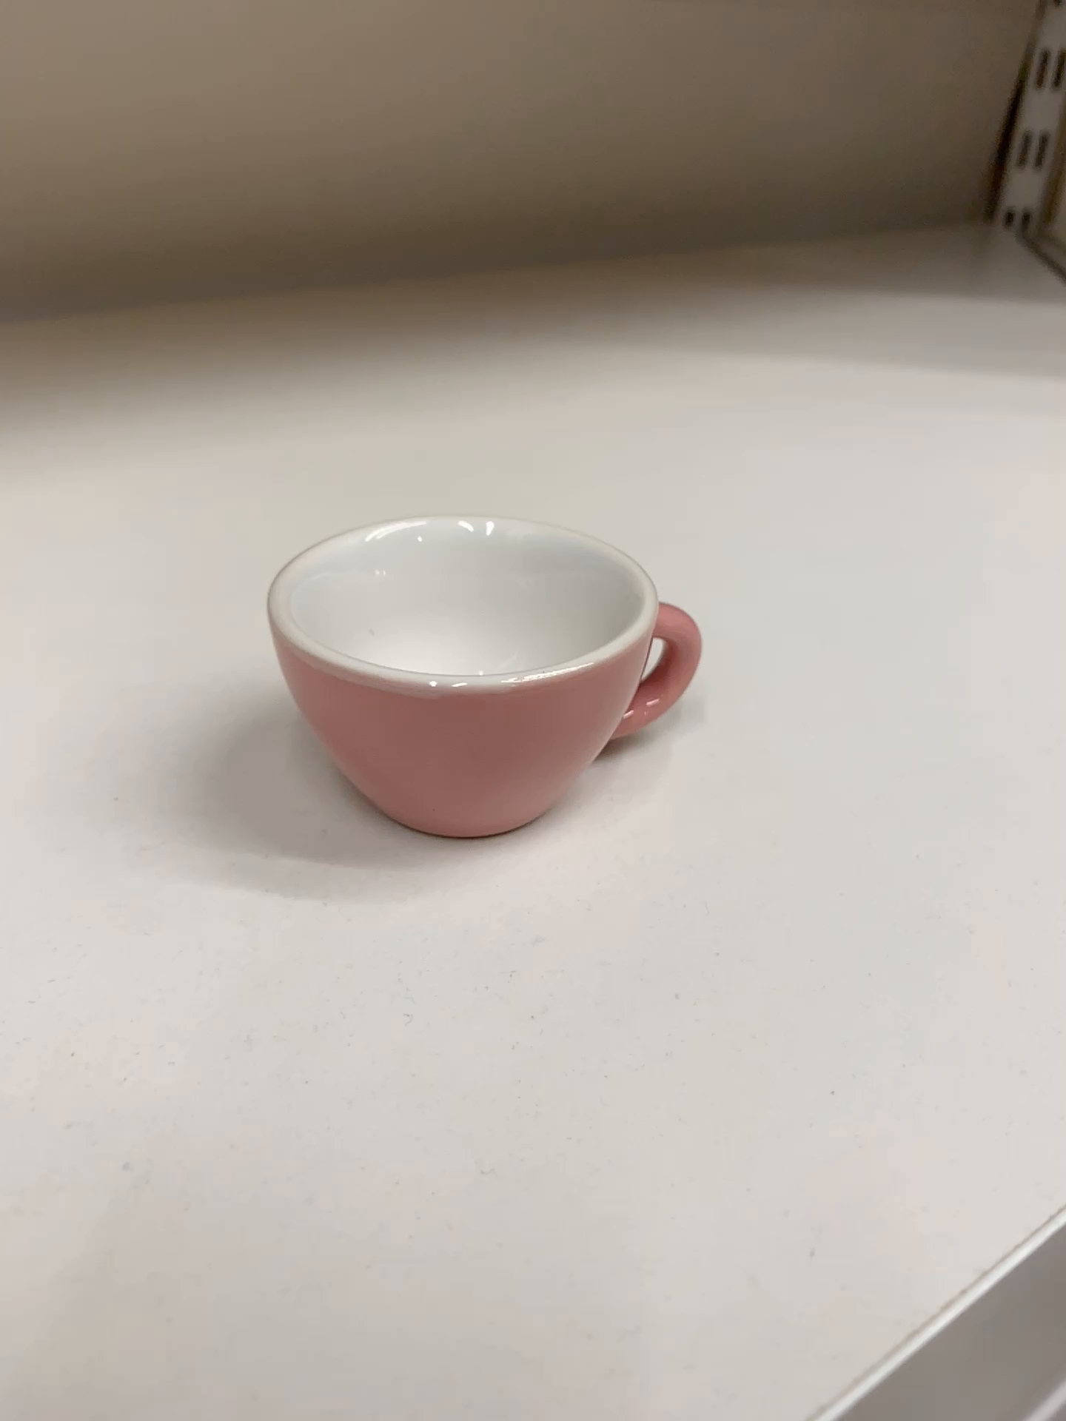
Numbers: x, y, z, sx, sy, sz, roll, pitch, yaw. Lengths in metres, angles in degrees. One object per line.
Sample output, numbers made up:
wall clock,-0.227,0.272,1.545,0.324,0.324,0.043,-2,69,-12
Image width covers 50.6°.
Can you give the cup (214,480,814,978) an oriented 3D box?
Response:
cup,-0.002,-0.002,0.161,0.070,0.040,0.040,-18,36,-29
